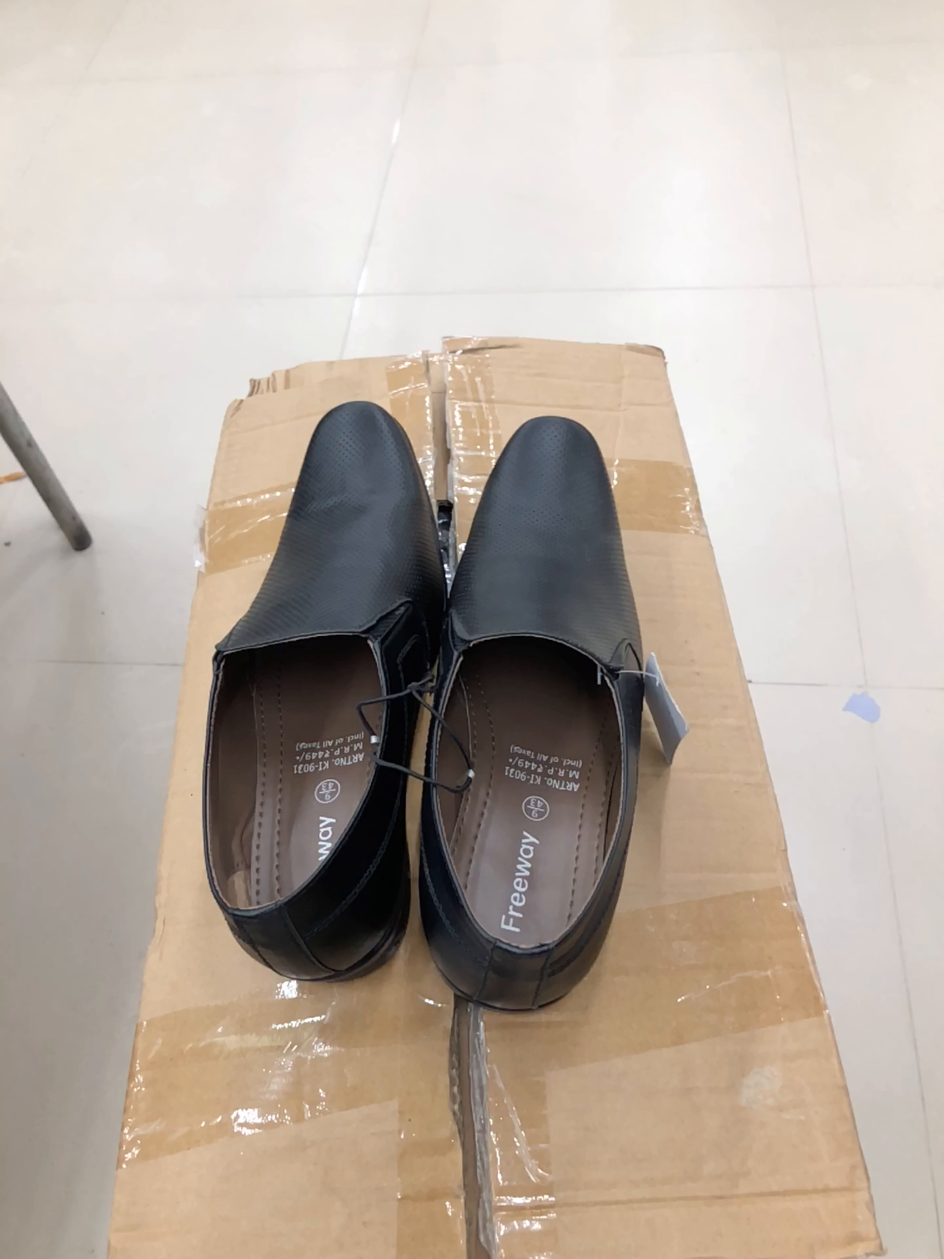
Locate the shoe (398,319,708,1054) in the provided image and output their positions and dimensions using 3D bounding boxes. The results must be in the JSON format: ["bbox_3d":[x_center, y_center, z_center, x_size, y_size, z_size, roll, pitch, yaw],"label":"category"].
[{"bbox_3d":[0.039,0.007,0.469,0.100,0.100,0.322,3,55,4],"label":"shoe"}]

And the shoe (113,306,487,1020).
[{"bbox_3d":[-0.058,0.001,0.482,0.100,0.100,0.322,-5,54,11],"label":"shoe"}]
